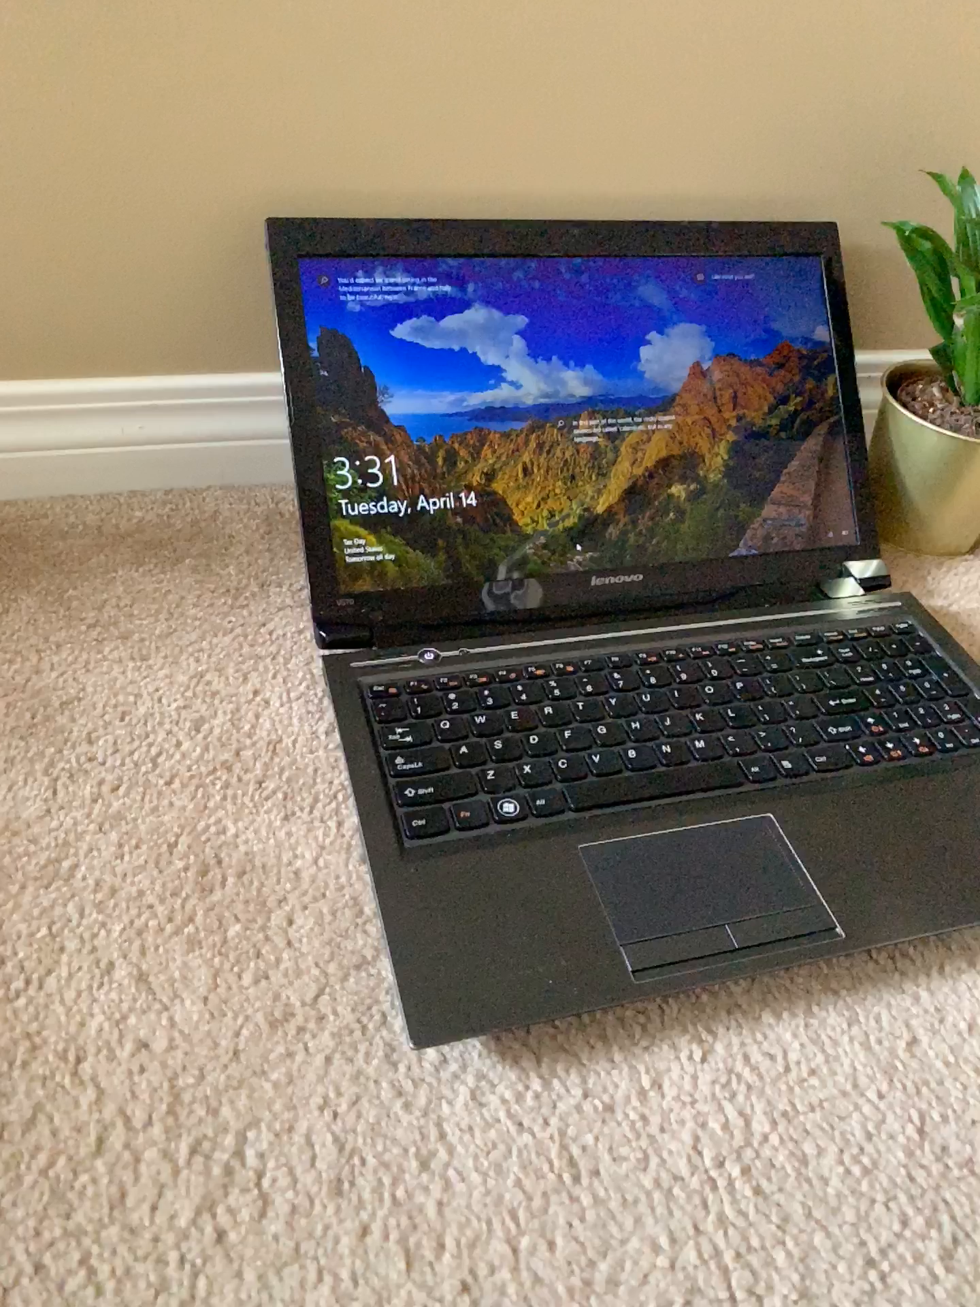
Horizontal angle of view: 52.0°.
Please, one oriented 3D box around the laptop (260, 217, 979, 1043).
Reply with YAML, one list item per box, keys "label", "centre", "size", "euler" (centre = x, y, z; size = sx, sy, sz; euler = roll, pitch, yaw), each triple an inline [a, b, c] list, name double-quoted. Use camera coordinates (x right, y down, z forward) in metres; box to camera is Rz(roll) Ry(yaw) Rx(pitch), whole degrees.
- label: "laptop"
  centre: [0.099, -0.067, 0.524]
  size: [0.372, 0.166, 0.412]
  euler: [-6, 43, -17]
